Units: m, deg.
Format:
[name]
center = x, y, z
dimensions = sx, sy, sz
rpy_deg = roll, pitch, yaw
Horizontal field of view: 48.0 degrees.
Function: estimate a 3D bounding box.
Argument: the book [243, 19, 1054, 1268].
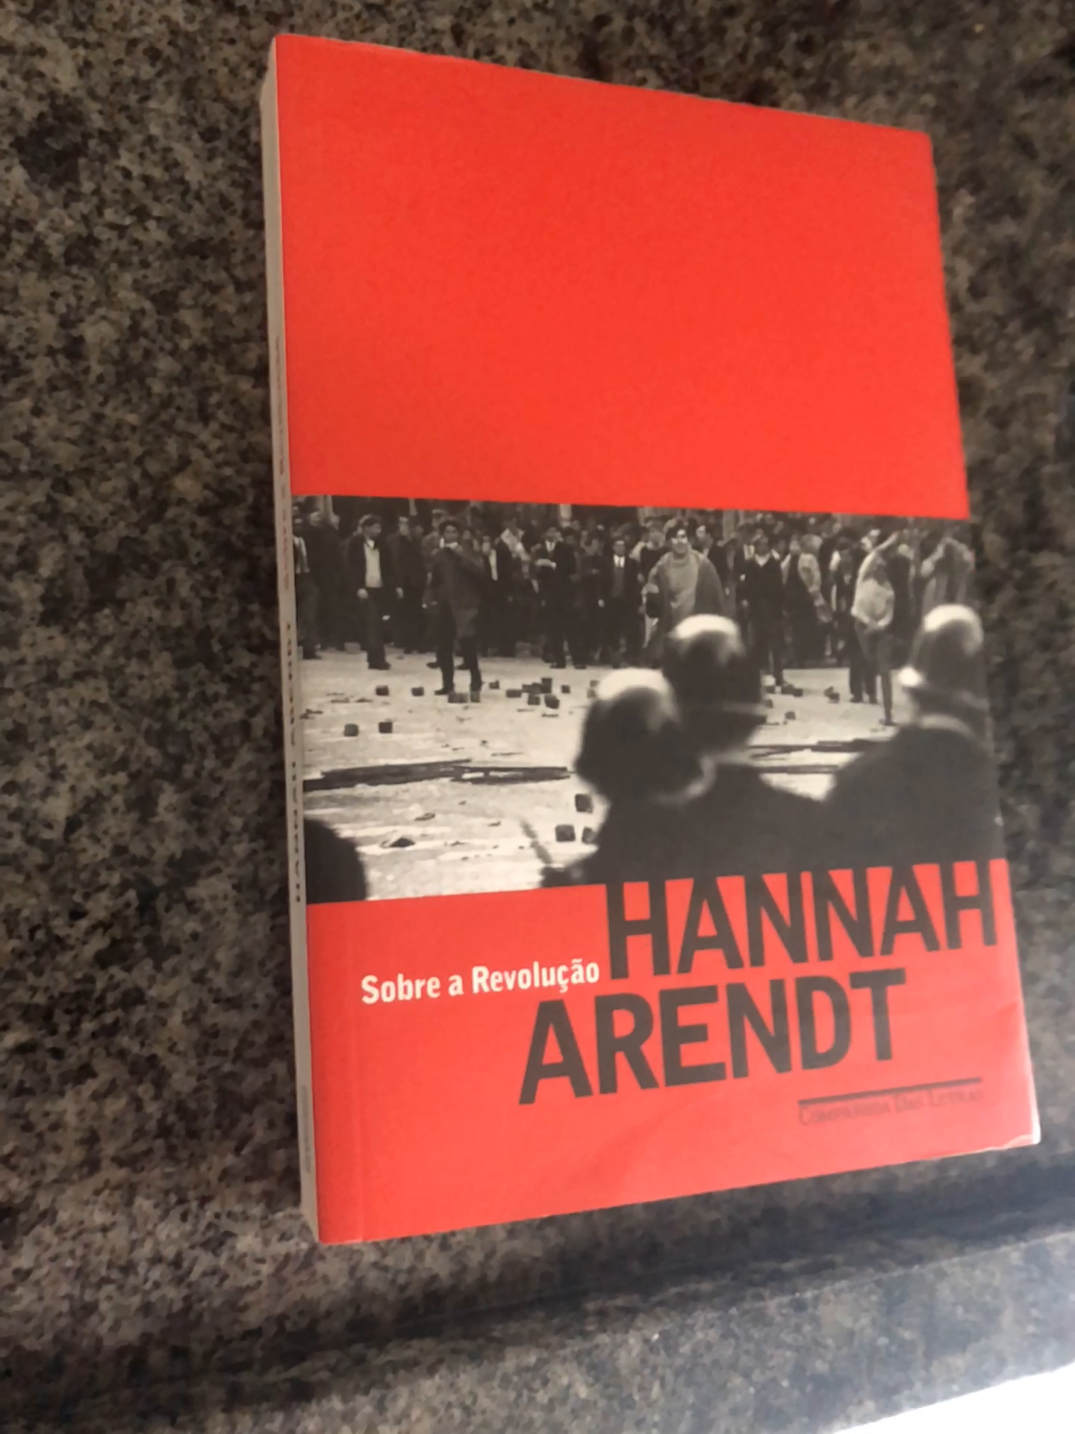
[book]
center = 0.020, -0.018, 0.236
dimensions = 0.145, 0.030, 0.210
rpy_deg = -1, 84, -17
